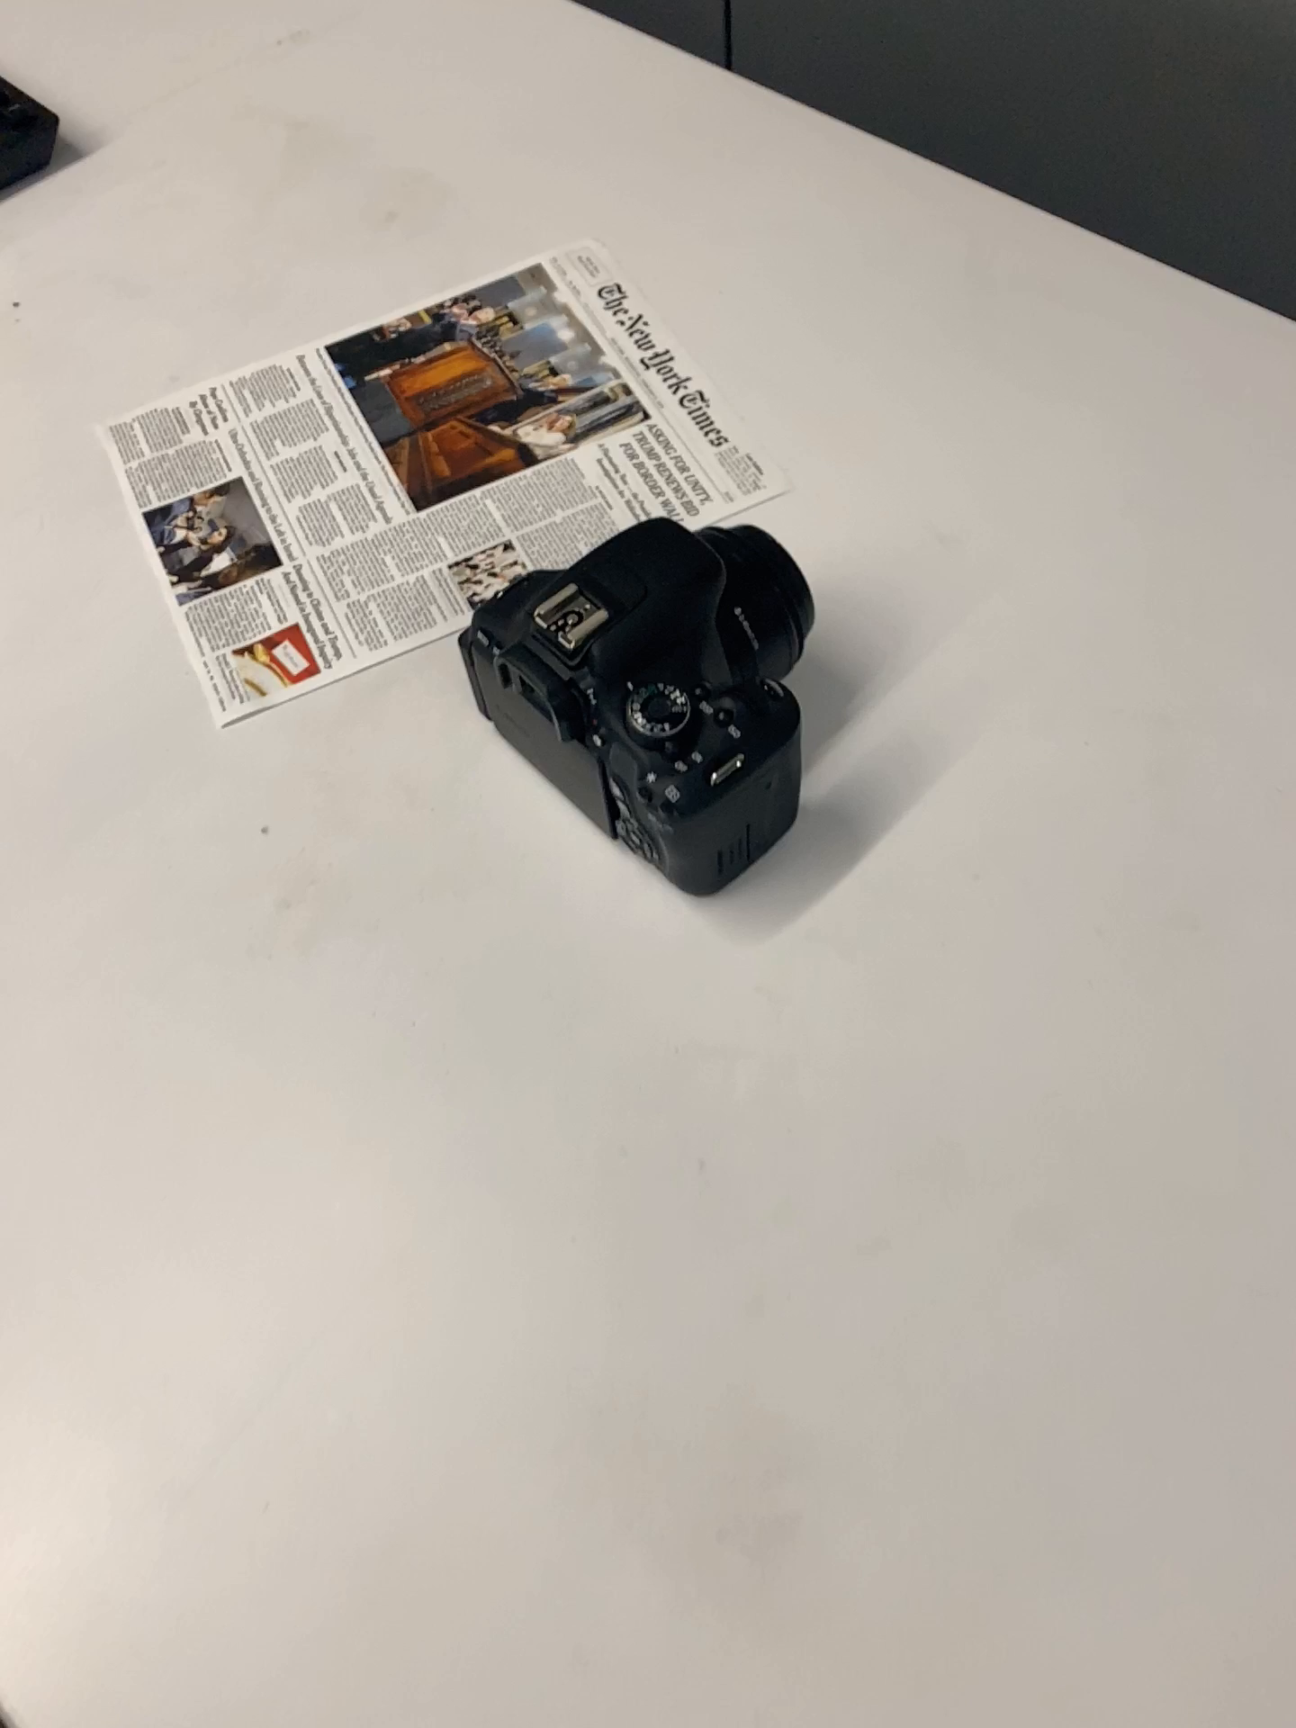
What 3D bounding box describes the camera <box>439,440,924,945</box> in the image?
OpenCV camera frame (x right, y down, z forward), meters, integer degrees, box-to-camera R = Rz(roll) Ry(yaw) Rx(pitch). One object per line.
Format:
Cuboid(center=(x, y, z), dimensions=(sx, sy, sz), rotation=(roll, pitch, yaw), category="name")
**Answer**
Cuboid(center=(0.013, -0.067, 0.514), dimensions=(0.109, 0.090, 0.138), rotation=(-39, 64, -17), category="camera")
